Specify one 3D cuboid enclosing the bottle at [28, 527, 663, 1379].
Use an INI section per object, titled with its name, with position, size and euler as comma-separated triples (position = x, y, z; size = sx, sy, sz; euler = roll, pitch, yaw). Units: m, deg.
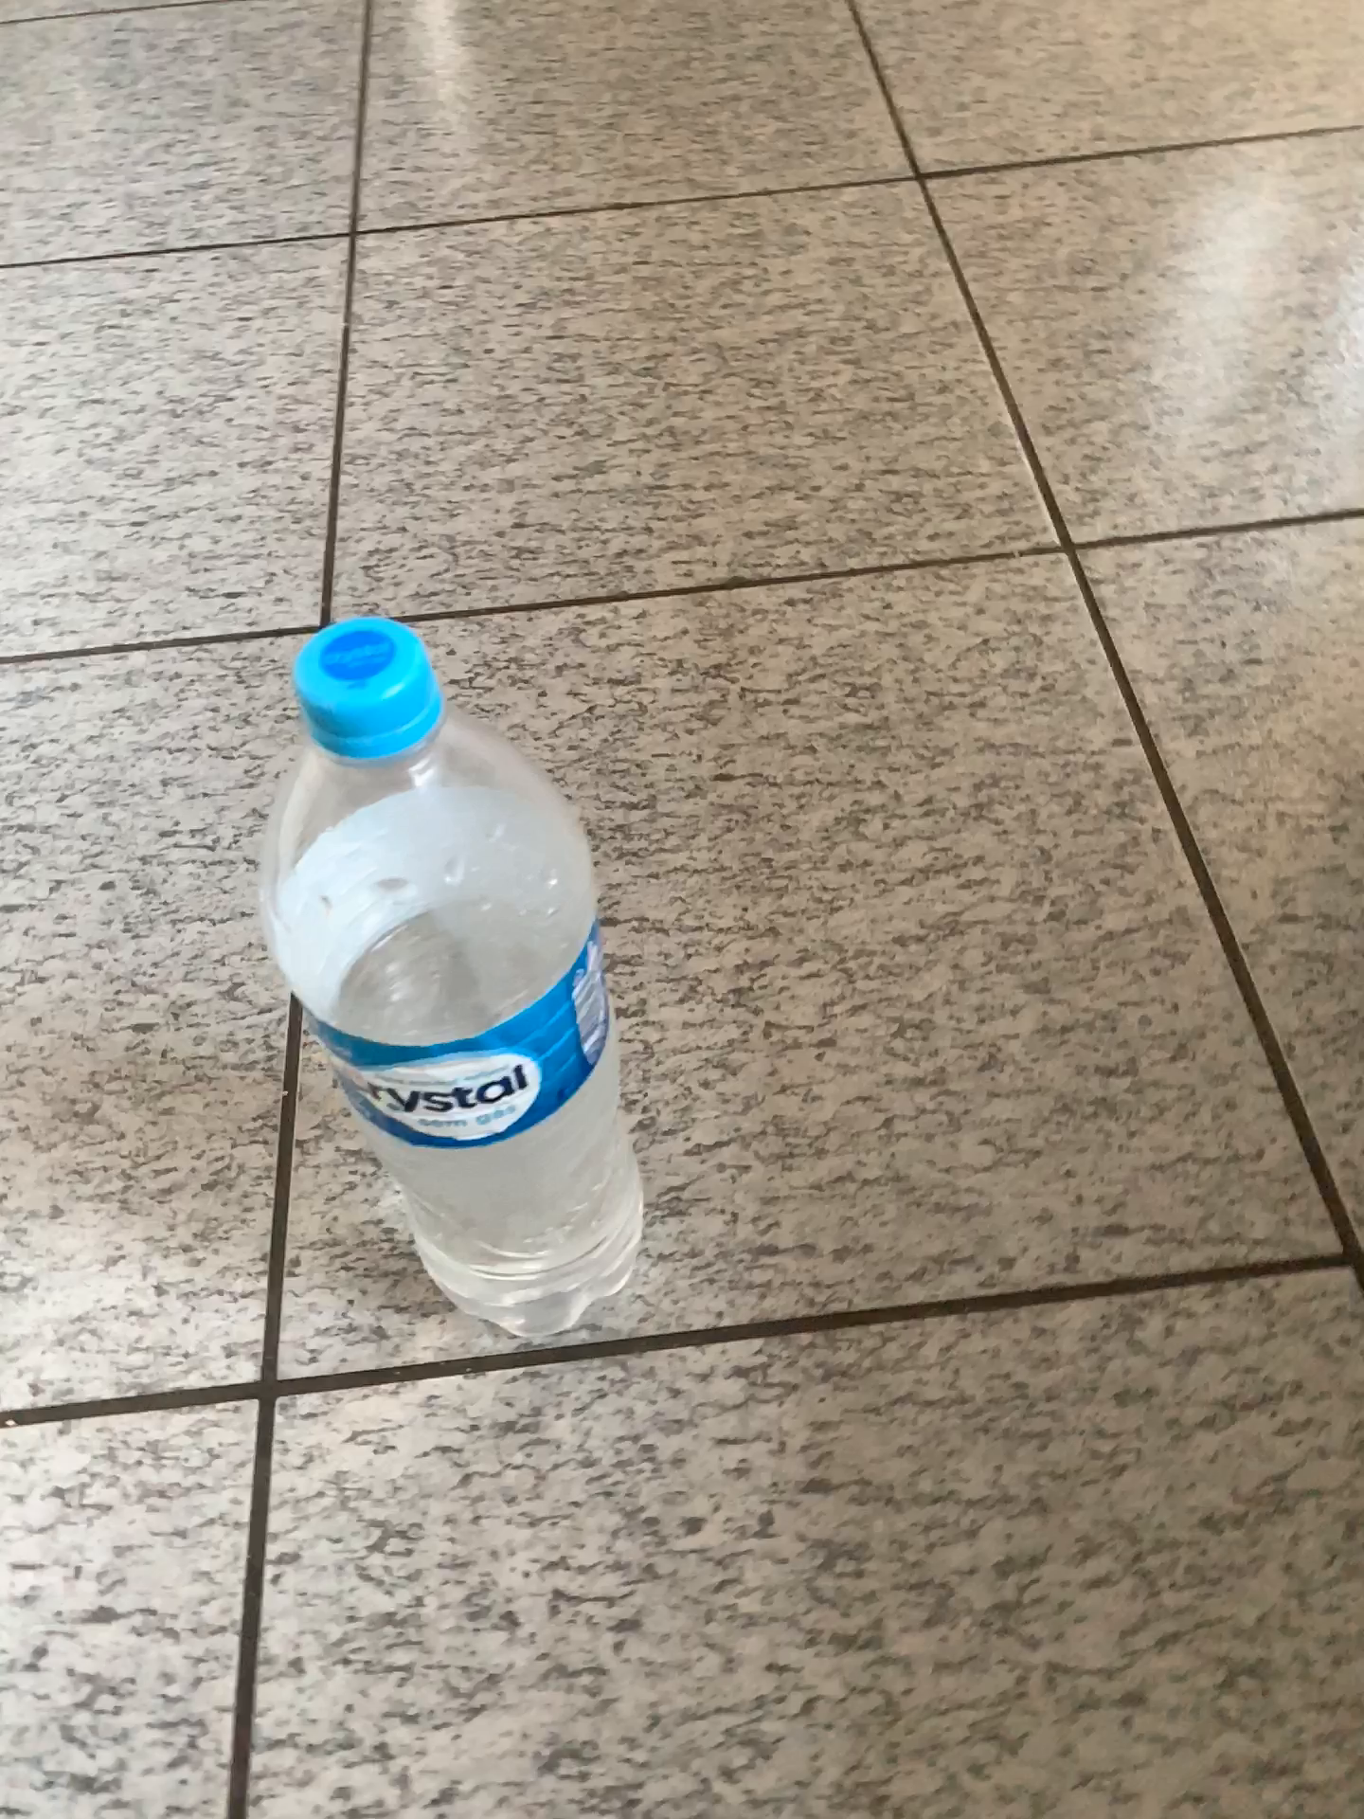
[bottle]
position = -0.069, 0.040, 0.415
size = 0.090, 0.299, 0.090
euler = -2, 54, 2
